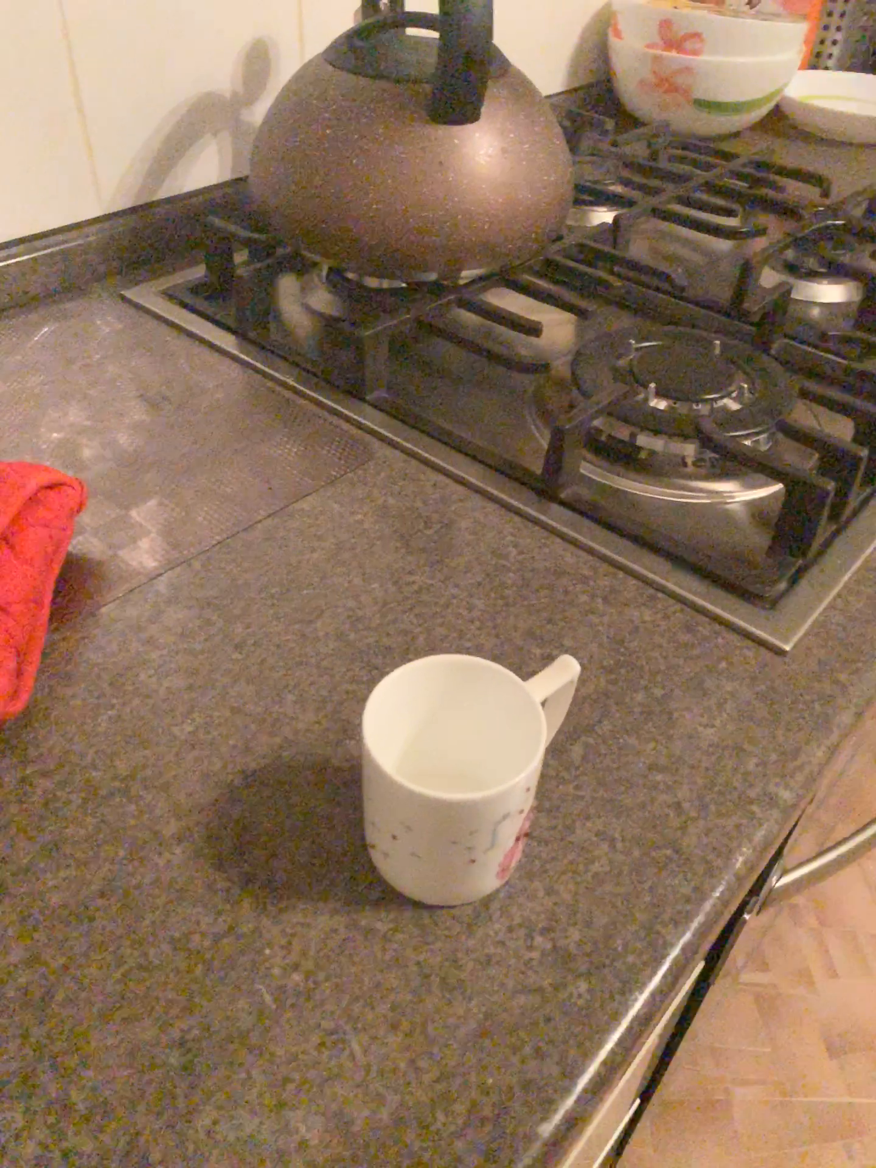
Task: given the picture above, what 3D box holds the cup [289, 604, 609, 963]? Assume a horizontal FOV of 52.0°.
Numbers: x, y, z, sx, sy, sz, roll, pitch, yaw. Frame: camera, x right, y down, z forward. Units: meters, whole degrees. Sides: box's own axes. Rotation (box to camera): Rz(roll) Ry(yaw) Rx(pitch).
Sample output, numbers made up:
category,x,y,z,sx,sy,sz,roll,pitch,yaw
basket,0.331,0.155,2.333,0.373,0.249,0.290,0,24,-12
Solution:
category,x,y,z,sx,sy,sz,roll,pitch,yaw
cup,0.002,0.064,0.303,0.080,0.069,0.060,-24,48,-28
